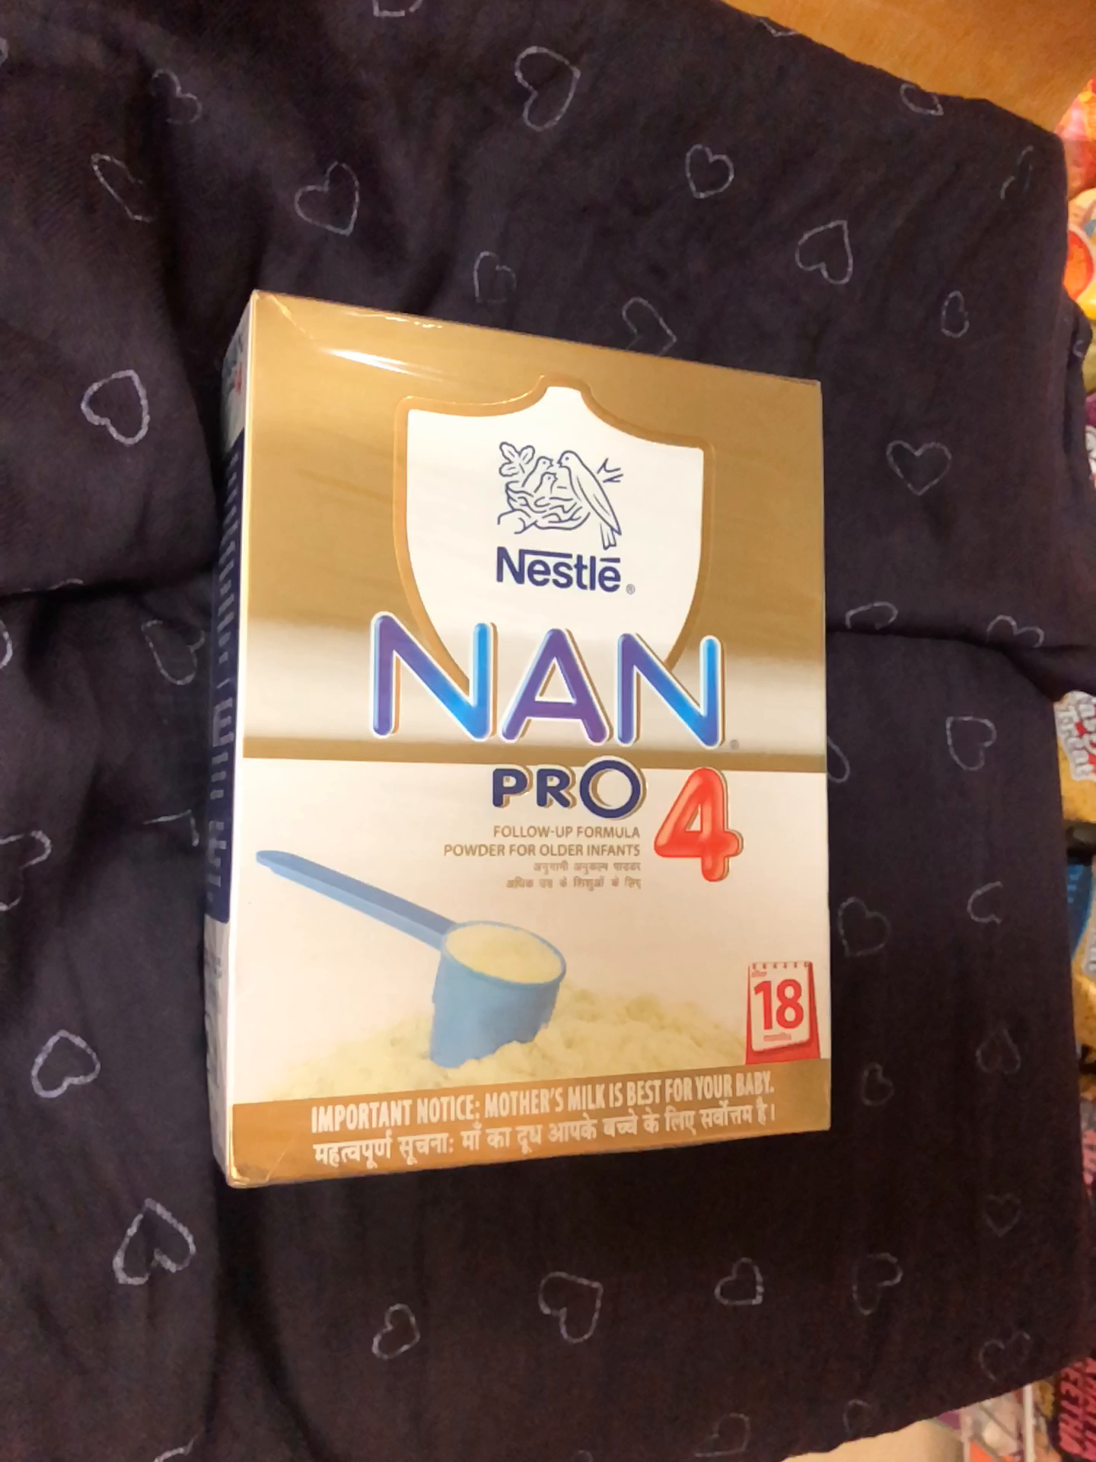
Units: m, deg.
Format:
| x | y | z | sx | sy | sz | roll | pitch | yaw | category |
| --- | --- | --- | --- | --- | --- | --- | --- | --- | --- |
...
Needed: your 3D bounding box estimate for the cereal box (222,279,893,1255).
| x | y | z | sx | sy | sz | roll | pitch | yaw | category |
| --- | --- | --- | --- | --- | --- | --- | --- | --- | --- |
| 0.004 | 0.009 | 0.313 | 0.160 | 0.050 | 0.210 | 2 | 85 | -20 | cereal box |
